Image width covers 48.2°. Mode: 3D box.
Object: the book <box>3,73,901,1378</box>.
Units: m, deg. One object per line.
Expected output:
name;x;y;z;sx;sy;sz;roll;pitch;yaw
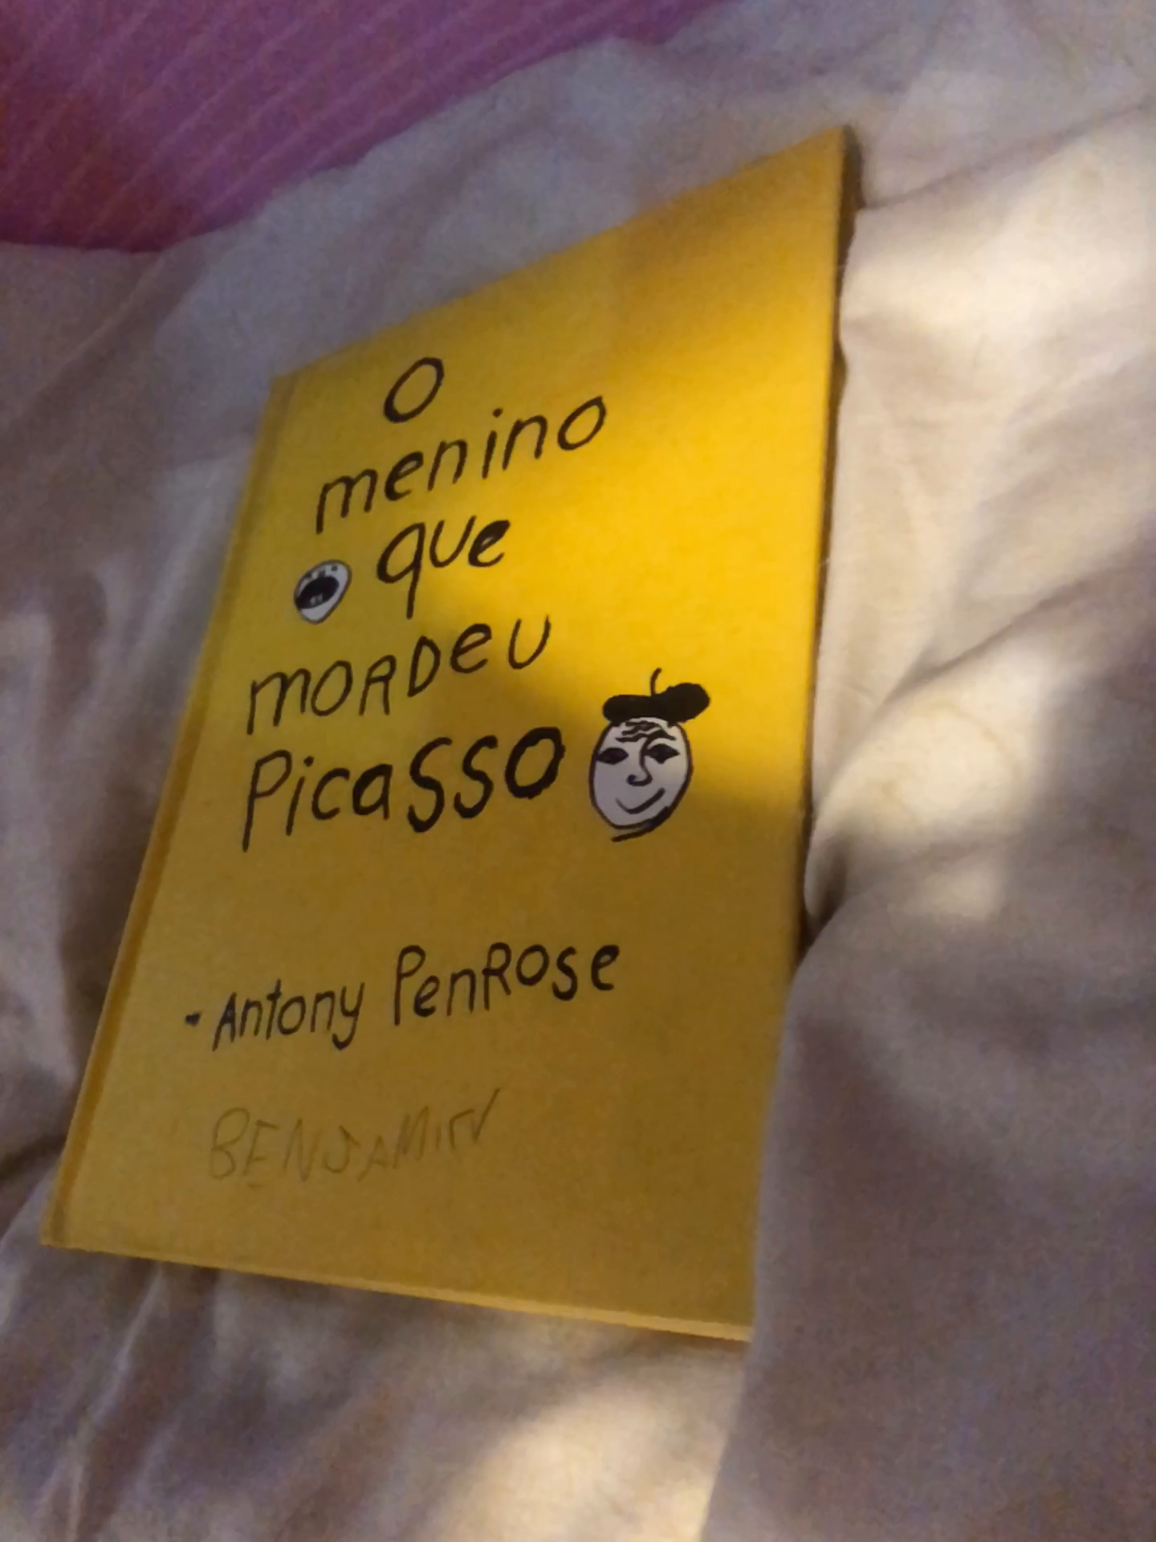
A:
book;-0.026;-0.016;0.276;0.181;0.024;0.240;-9;62;35
